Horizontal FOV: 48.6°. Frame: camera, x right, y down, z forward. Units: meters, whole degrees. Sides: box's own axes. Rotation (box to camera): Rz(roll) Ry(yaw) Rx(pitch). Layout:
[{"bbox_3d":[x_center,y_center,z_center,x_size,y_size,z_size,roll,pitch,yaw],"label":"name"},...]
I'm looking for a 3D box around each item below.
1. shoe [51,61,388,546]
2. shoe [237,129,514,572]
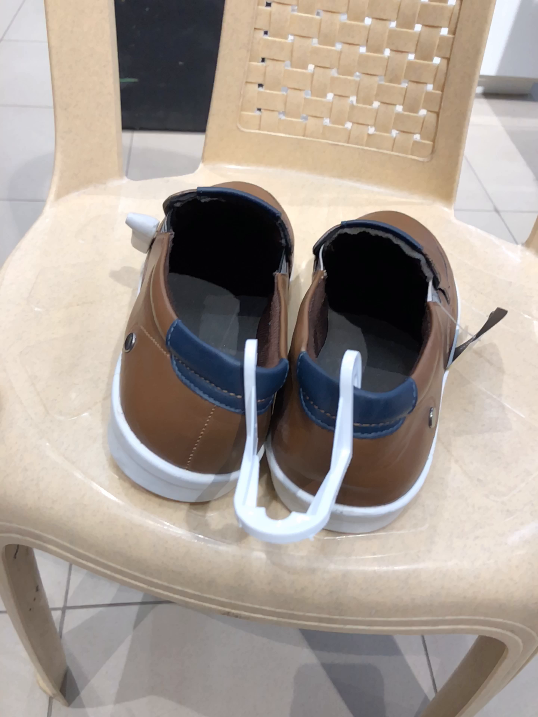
[{"bbox_3d":[-0.016,-0.053,0.341,0.104,0.099,0.272,25,40,-17],"label":"shoe"},{"bbox_3d":[0.073,-0.033,0.355,0.104,0.099,0.272,9,43,12],"label":"shoe"}]
